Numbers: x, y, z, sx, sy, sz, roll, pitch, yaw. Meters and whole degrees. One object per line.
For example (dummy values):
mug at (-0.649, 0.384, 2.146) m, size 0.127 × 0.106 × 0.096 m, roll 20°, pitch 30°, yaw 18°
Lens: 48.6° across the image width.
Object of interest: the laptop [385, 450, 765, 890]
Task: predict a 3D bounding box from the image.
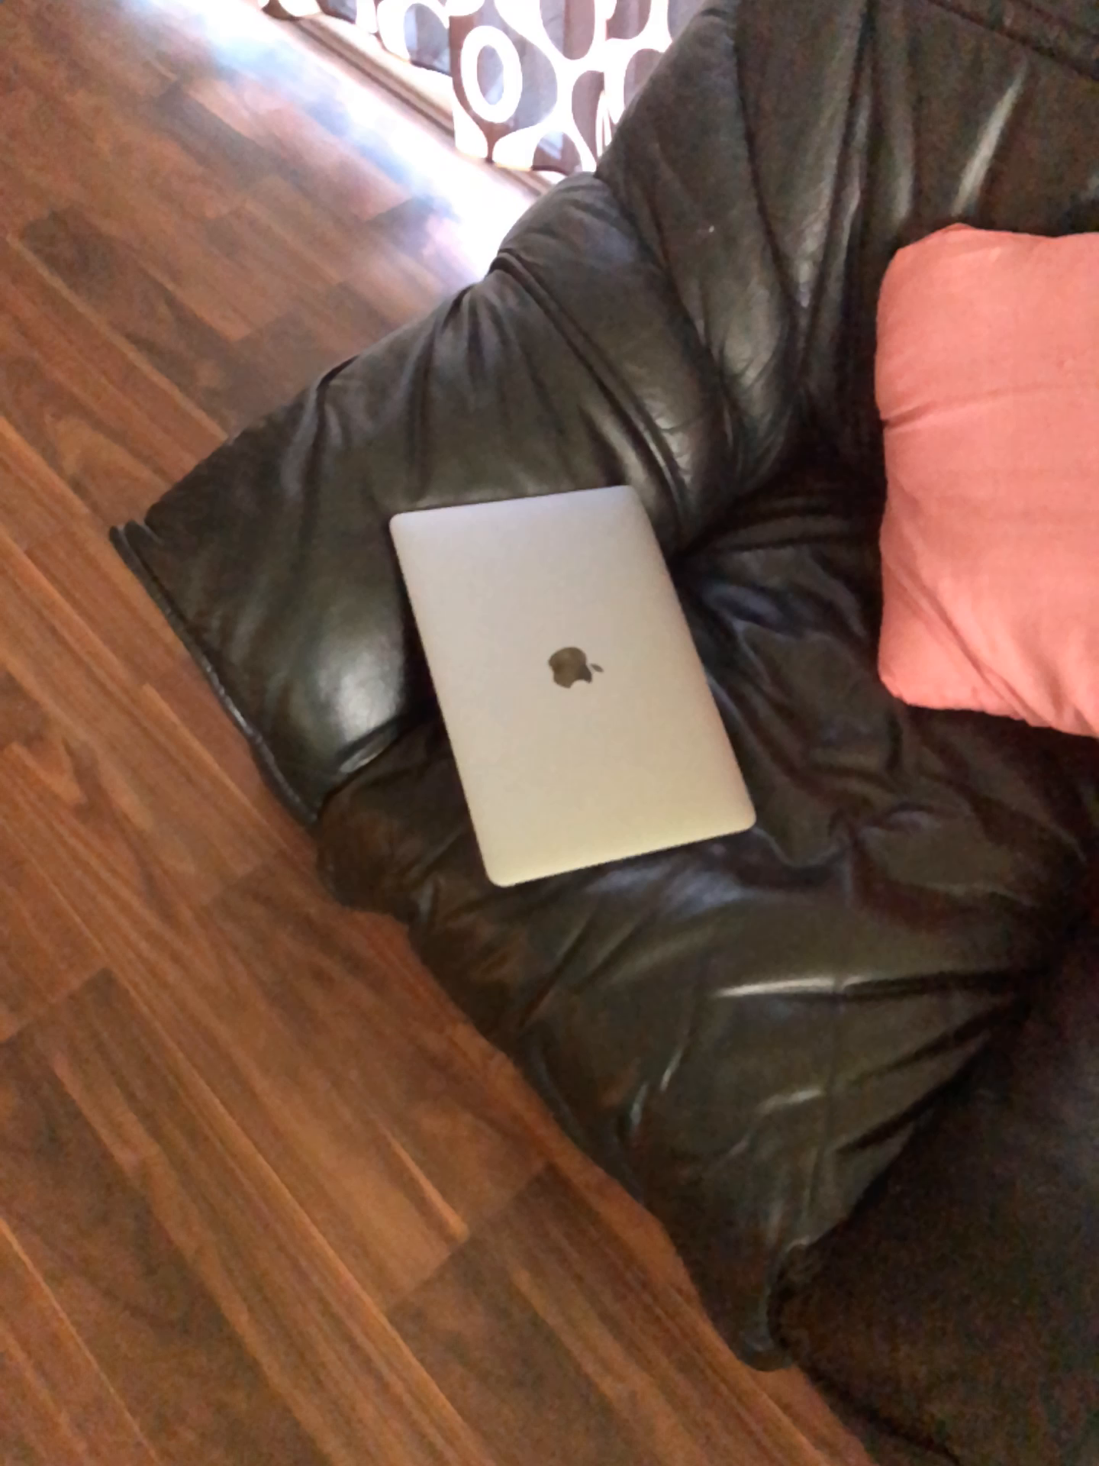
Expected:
laptop at (0.015, -0.052, 0.796) m, size 0.185 × 0.036 × 0.265 m, roll -11°, pitch 70°, yaw -20°
